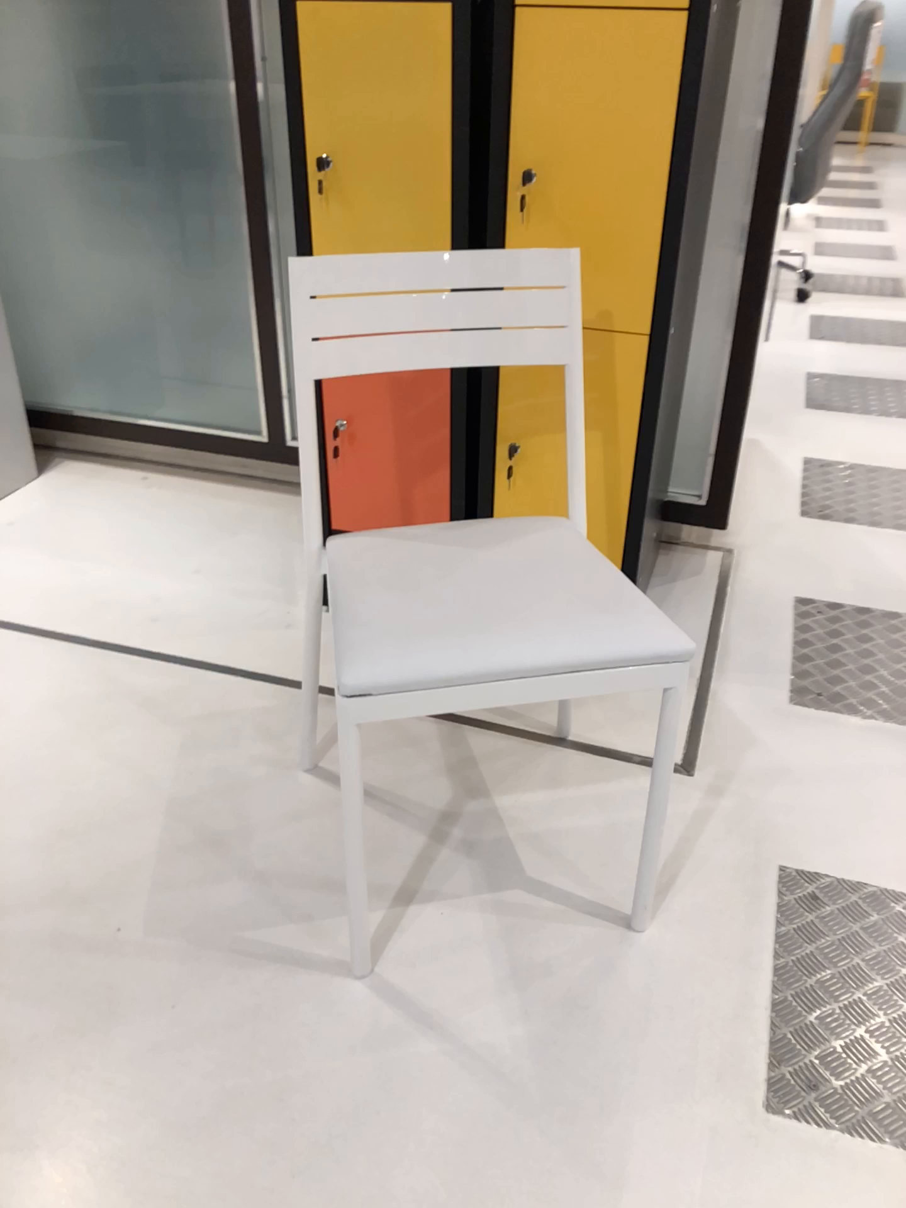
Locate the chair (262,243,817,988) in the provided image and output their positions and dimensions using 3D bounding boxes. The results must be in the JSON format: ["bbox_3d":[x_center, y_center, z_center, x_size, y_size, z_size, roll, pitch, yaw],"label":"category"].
[{"bbox_3d":[0.042,-0.015,1.269,0.480,0.734,0.534,-6,31,-10],"label":"chair"}]
